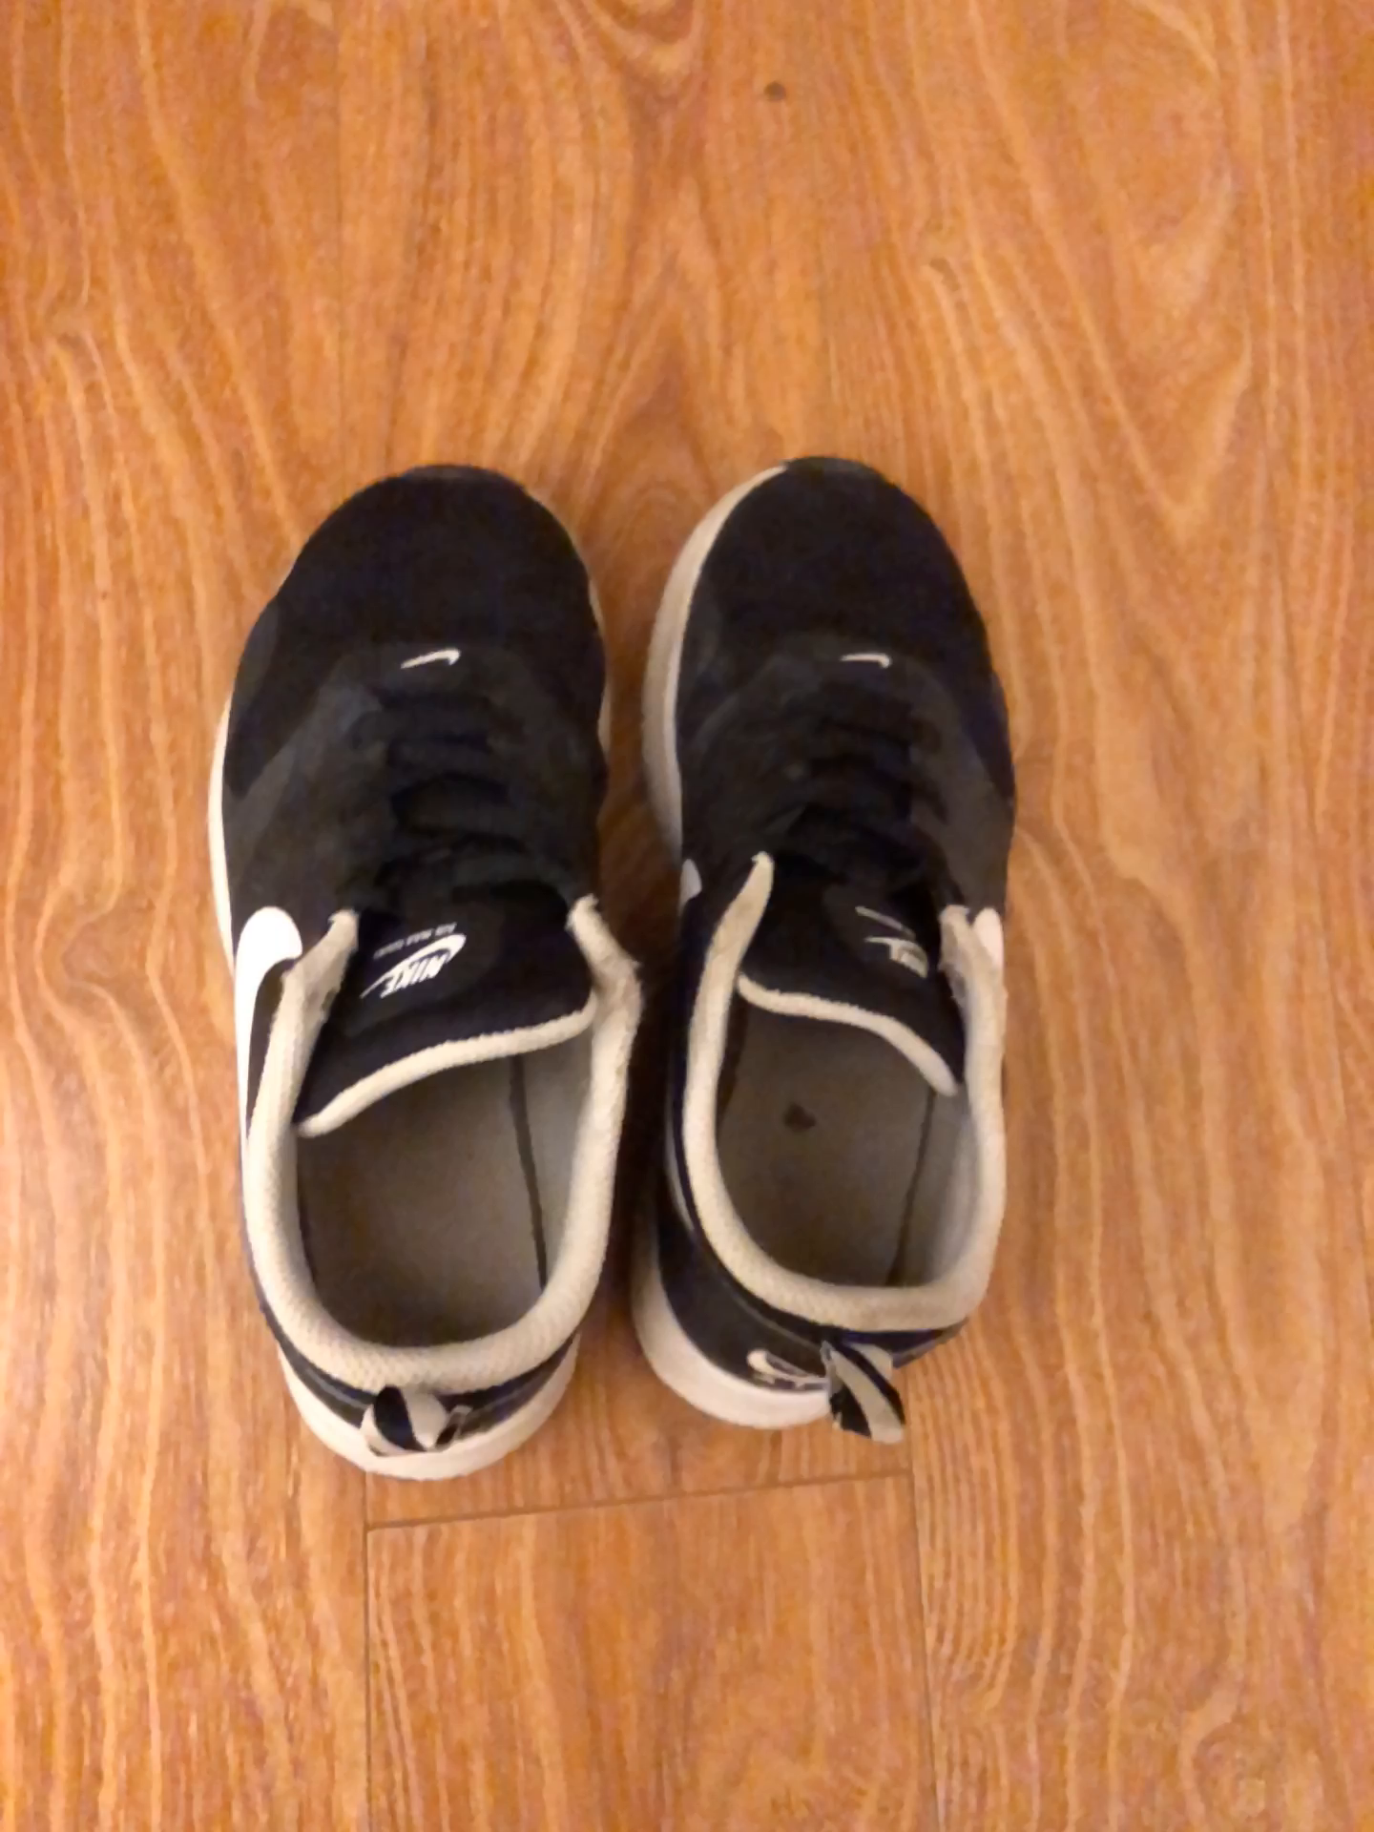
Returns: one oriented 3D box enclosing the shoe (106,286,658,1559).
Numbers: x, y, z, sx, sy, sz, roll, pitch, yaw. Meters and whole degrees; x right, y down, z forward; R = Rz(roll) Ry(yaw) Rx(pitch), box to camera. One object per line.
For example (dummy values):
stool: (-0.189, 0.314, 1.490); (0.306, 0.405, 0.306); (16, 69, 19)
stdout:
shoe: (-0.059, 0.001, 0.320); (0.090, 0.080, 0.230); (2, 80, -11)

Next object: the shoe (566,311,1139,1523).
shoe: (0.035, 0.001, 0.336); (0.090, 0.080, 0.230); (7, 80, -11)
